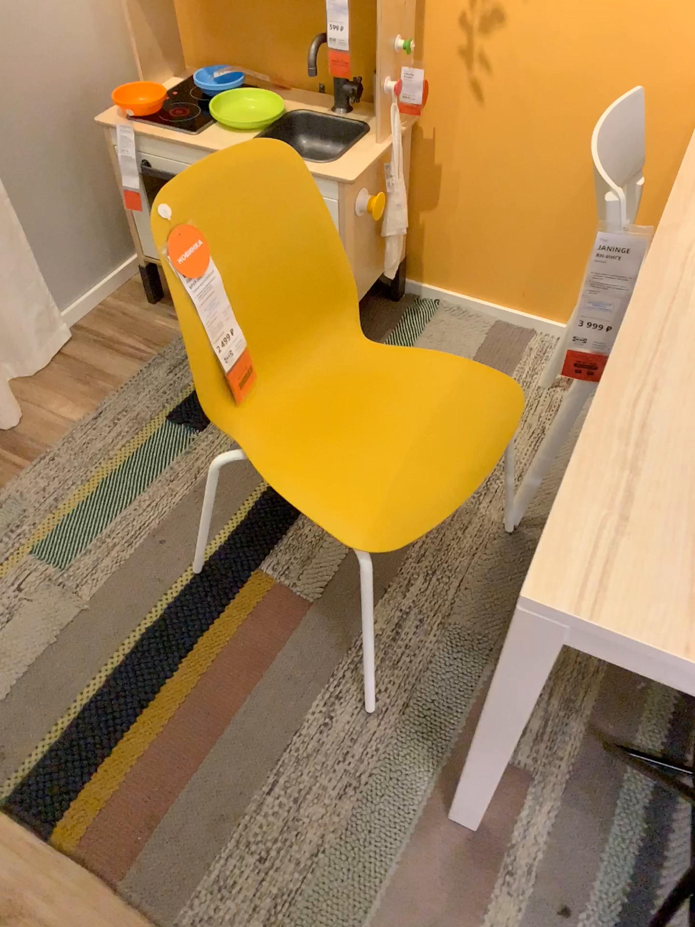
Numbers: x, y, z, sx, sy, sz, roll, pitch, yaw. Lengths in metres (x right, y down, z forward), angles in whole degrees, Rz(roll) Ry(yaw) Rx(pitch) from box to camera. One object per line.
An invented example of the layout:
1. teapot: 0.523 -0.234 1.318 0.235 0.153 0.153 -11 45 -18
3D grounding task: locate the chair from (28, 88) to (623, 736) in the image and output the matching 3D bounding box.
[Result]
1. chair: -0.004 -0.066 1.229 0.555 0.809 0.559 27 55 22
